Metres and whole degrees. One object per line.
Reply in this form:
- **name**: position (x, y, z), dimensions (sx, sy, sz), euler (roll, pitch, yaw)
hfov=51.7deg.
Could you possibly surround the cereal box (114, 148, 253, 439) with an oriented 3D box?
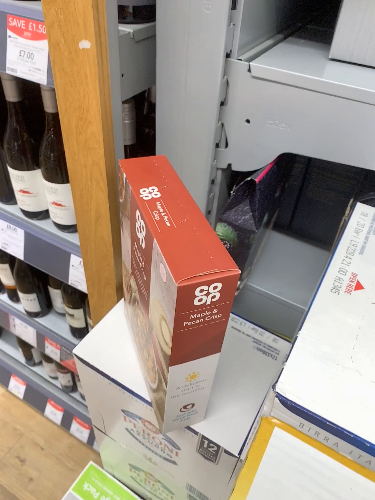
- **cereal box**: position (-0.024, 0.051, 0.411), dimensions (0.060, 0.248, 0.182), euler (-11, 45, -19)
